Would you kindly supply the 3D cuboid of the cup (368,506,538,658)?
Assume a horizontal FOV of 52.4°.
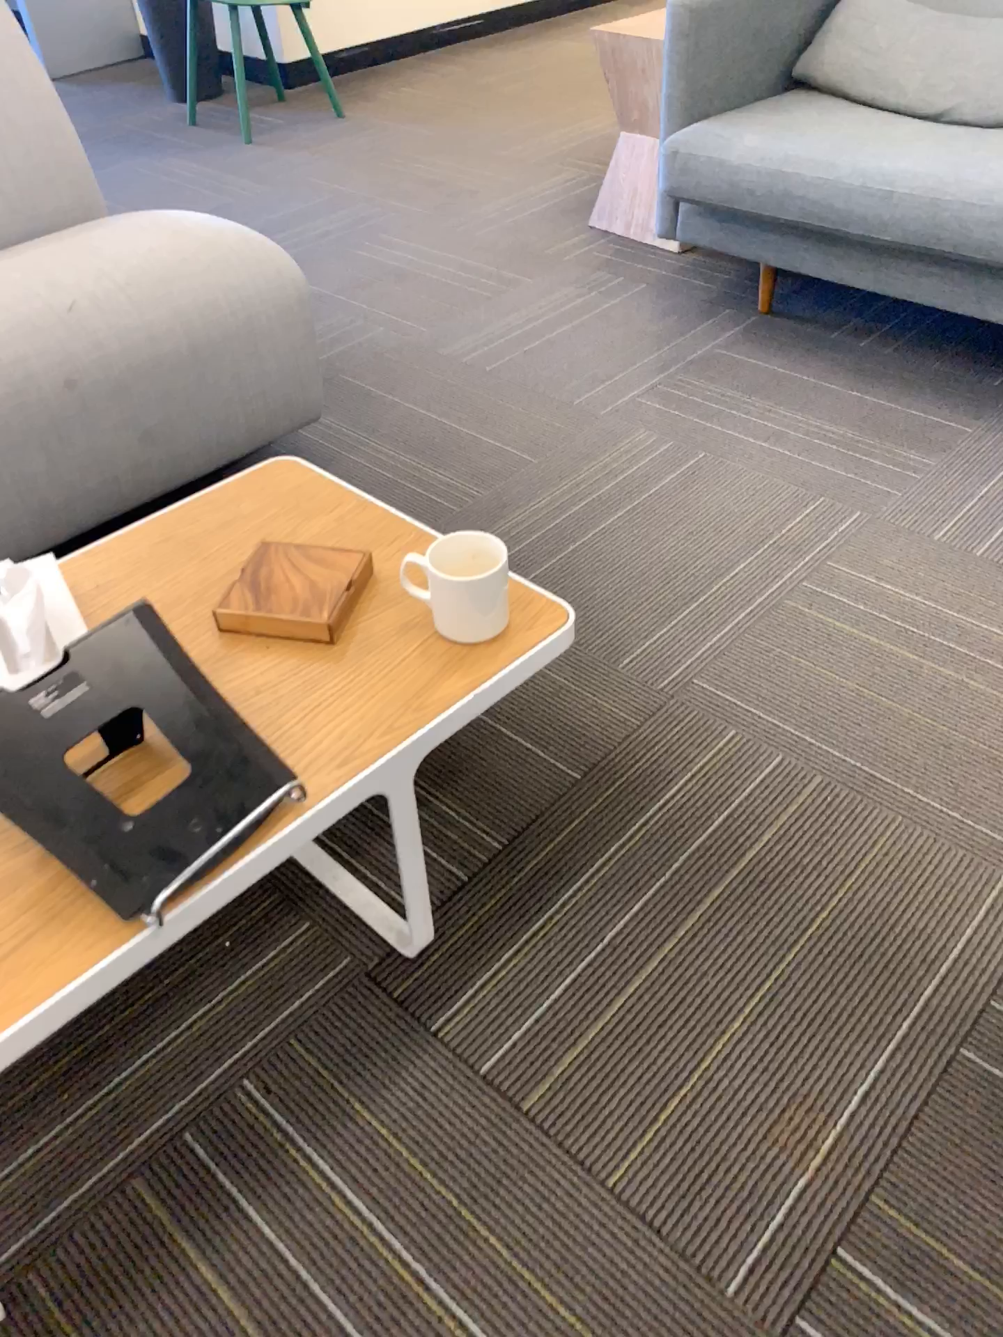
[{"bbox_3d":[-0.046,-0.089,1.031,0.140,0.089,0.090,15,45,20],"label":"cup"}]
